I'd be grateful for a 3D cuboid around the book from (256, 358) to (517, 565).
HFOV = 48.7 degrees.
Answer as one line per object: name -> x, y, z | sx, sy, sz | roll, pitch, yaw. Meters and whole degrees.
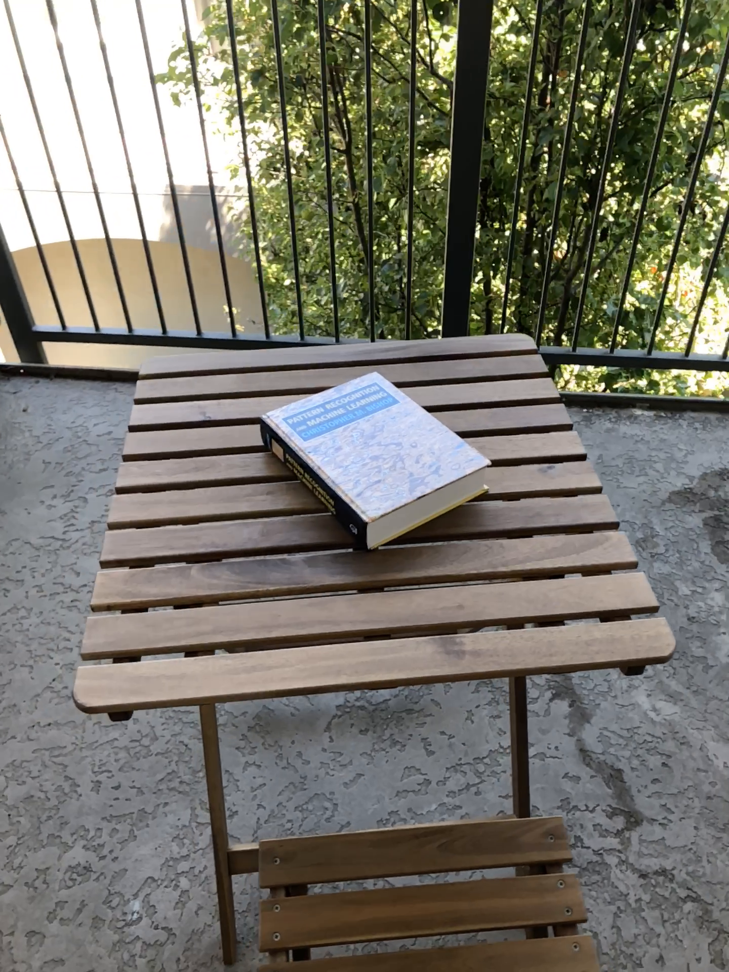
book -> 0.019, -0.041, 0.943 | 0.190, 0.050, 0.251 | -25, 47, -24
